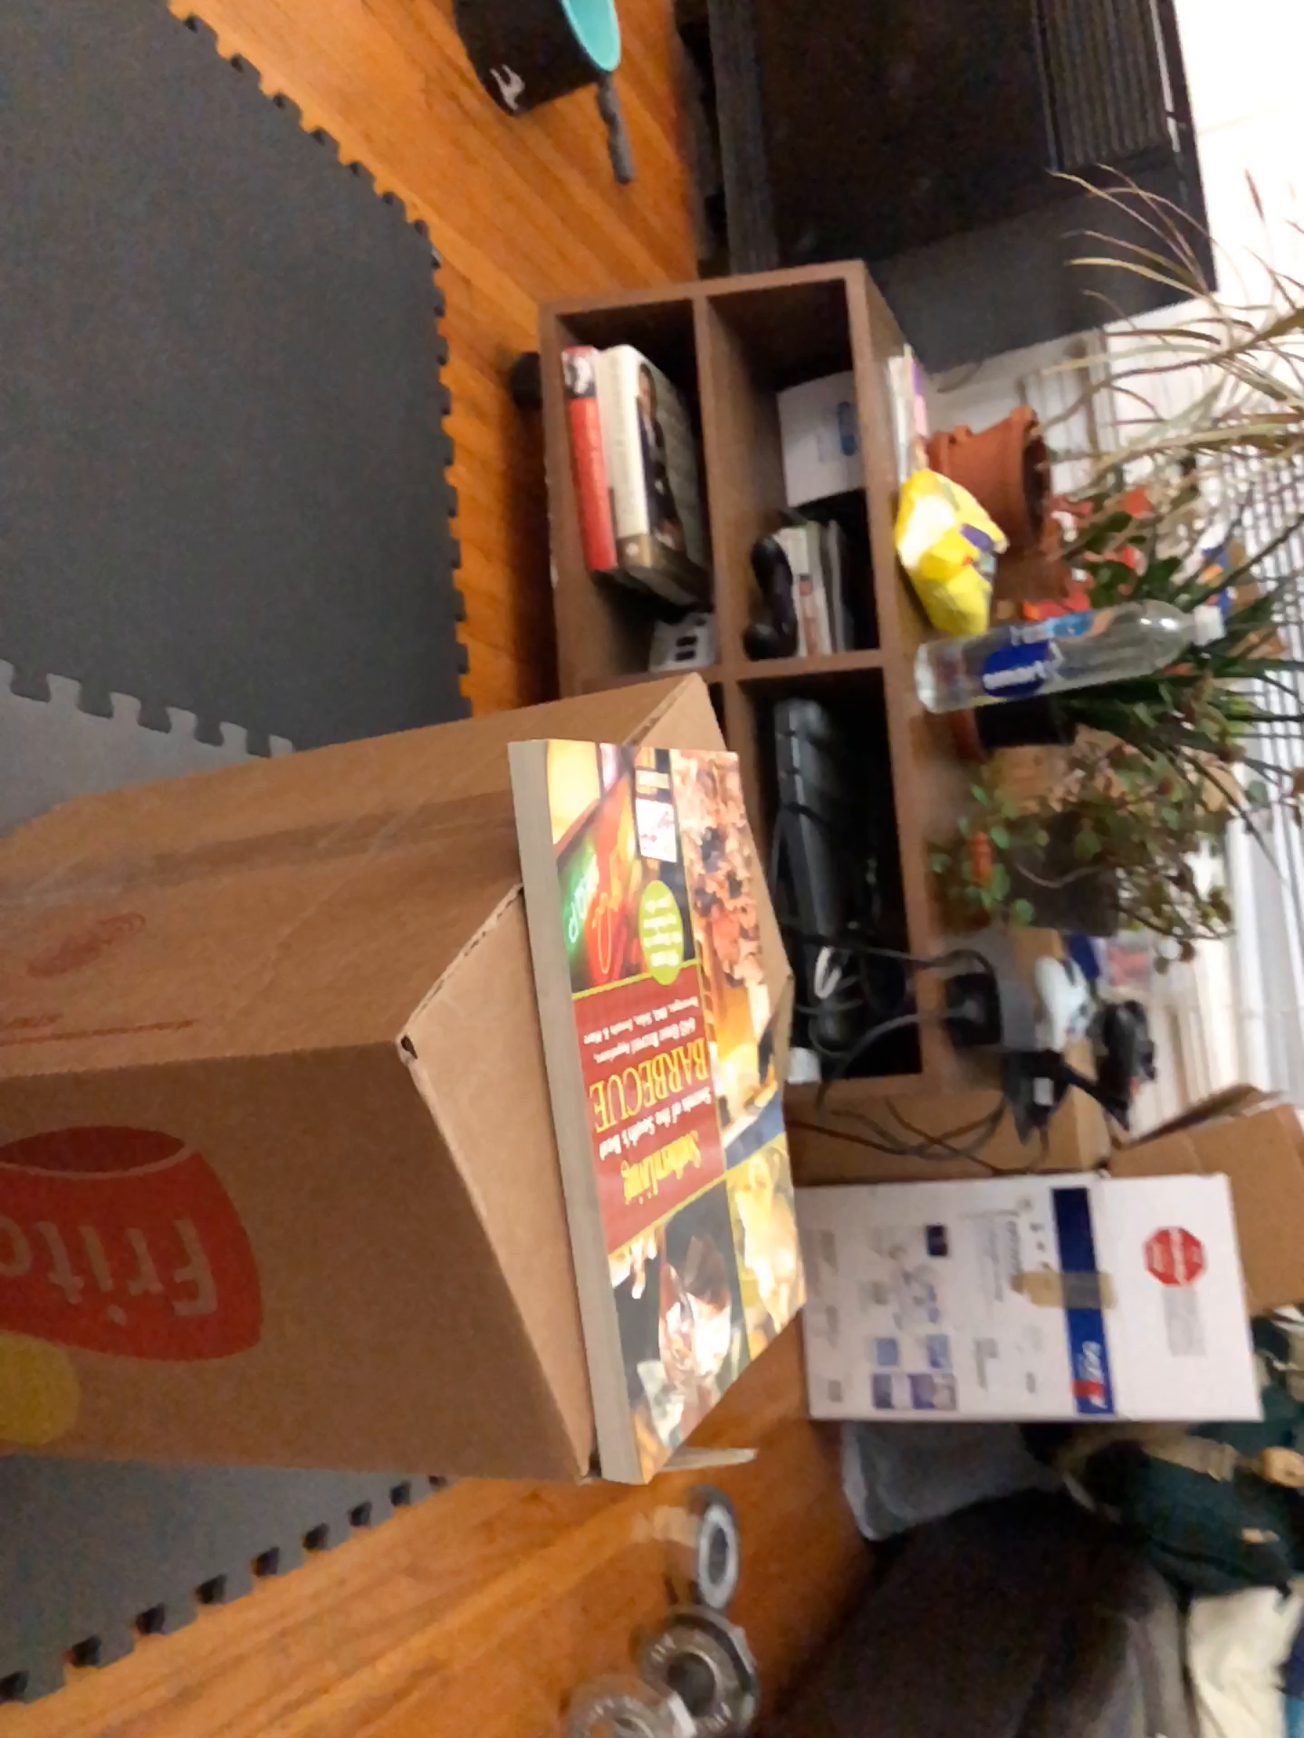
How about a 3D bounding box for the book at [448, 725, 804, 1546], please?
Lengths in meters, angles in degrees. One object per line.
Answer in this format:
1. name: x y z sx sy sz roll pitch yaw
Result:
1. book: 0.001 0.089 0.610 0.221 0.020 0.290 -6 87 -66
